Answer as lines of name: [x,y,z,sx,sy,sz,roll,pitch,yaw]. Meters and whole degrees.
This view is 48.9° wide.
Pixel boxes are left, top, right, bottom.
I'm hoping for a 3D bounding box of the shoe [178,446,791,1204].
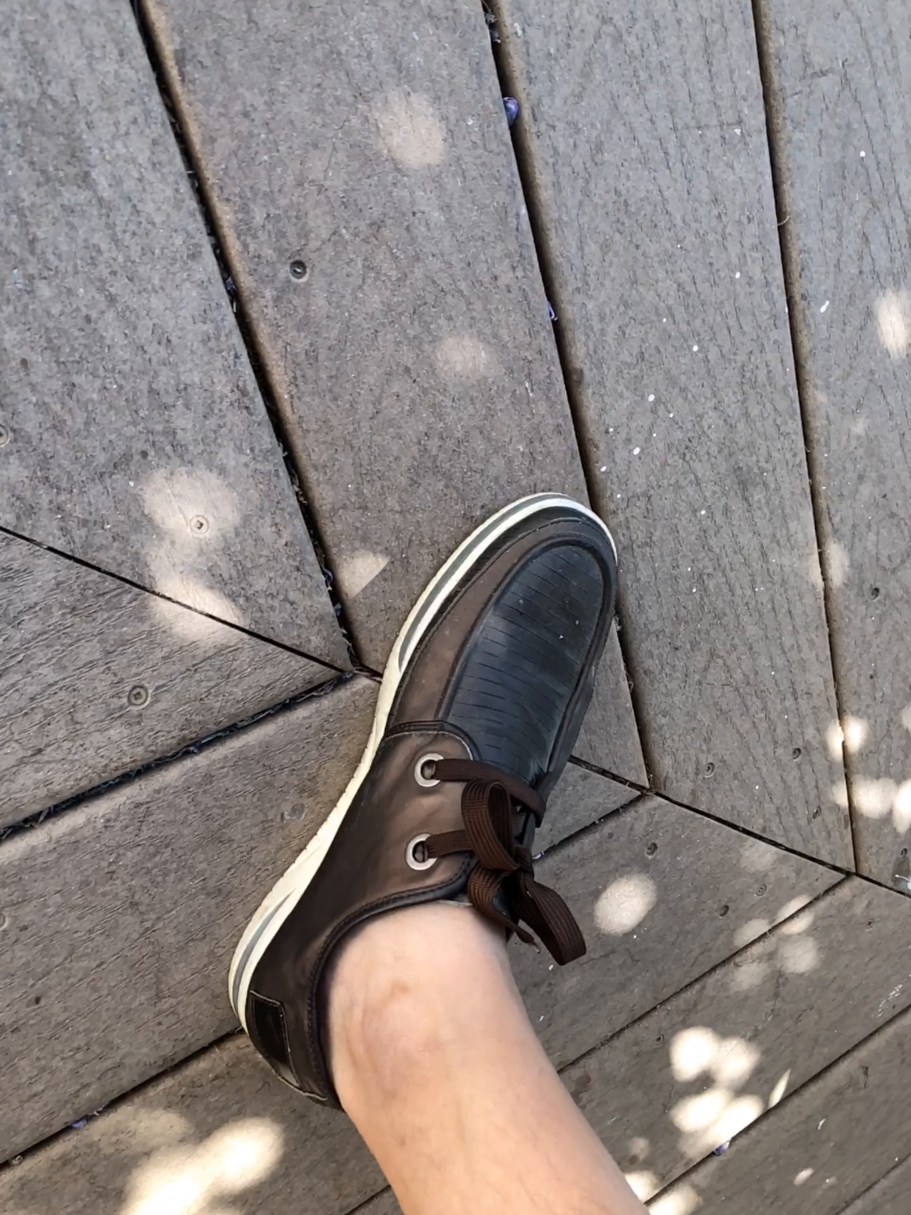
shoe: [0.011,0.086,0.434,0.107,0.096,0.289,31,87,-31]
